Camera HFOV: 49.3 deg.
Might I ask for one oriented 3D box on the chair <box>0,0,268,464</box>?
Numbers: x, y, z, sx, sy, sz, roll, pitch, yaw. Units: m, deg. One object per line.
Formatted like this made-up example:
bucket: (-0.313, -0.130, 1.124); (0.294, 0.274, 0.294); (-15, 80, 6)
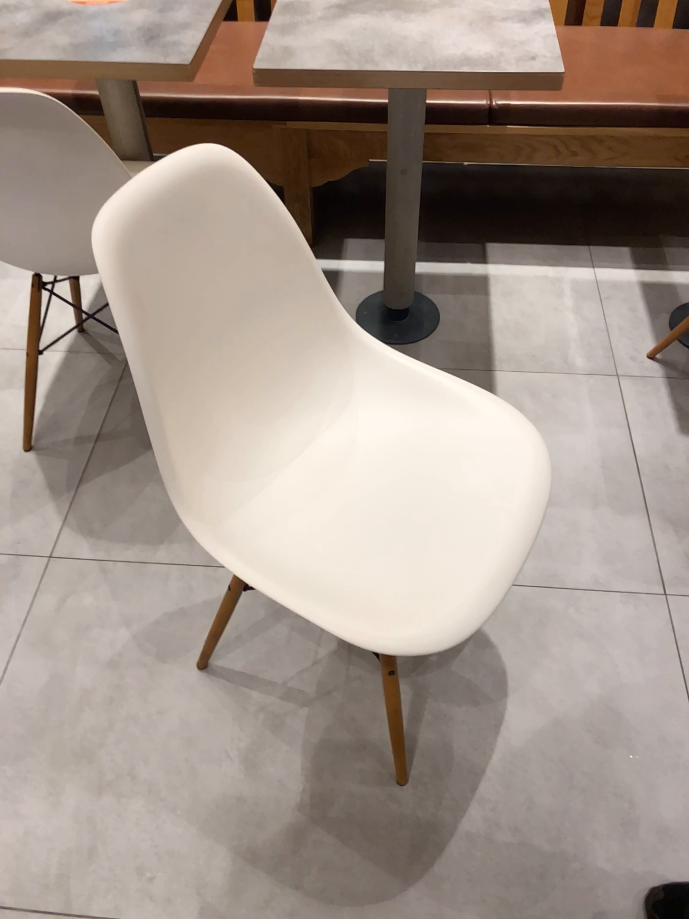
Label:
chair: (-0.505, -0.450, 1.508); (0.561, 0.769, 0.514); (3, 50, 4)

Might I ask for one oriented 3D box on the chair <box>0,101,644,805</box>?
chair: (-0.016, 0.024, 1.093); (0.553, 0.779, 0.473); (23, 54, 19)
